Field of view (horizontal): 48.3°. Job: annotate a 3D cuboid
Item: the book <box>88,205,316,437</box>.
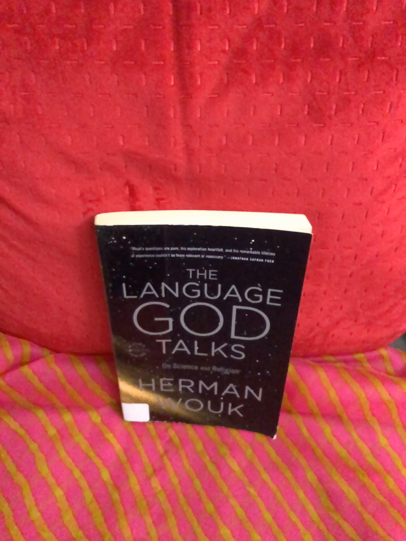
[{"bbox_3d":[-0.002,0.050,0.344,0.138,0.199,0.030,3,36,3],"label":"book"}]
